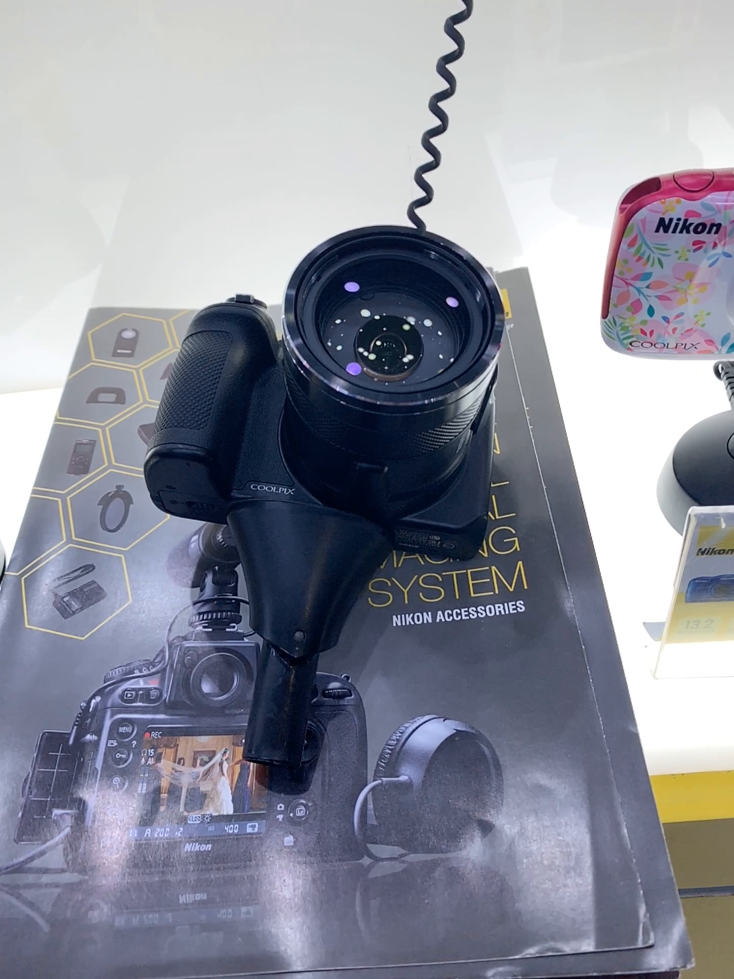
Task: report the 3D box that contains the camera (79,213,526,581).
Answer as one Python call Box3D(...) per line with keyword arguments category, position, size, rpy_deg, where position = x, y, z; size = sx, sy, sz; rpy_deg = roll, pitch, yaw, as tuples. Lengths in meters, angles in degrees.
Box3D(category="camera", position=(-0.011, -0.031, 0.260), size=(0.120, 0.080, 0.090), rpy_deg=(5, 65, 11))
